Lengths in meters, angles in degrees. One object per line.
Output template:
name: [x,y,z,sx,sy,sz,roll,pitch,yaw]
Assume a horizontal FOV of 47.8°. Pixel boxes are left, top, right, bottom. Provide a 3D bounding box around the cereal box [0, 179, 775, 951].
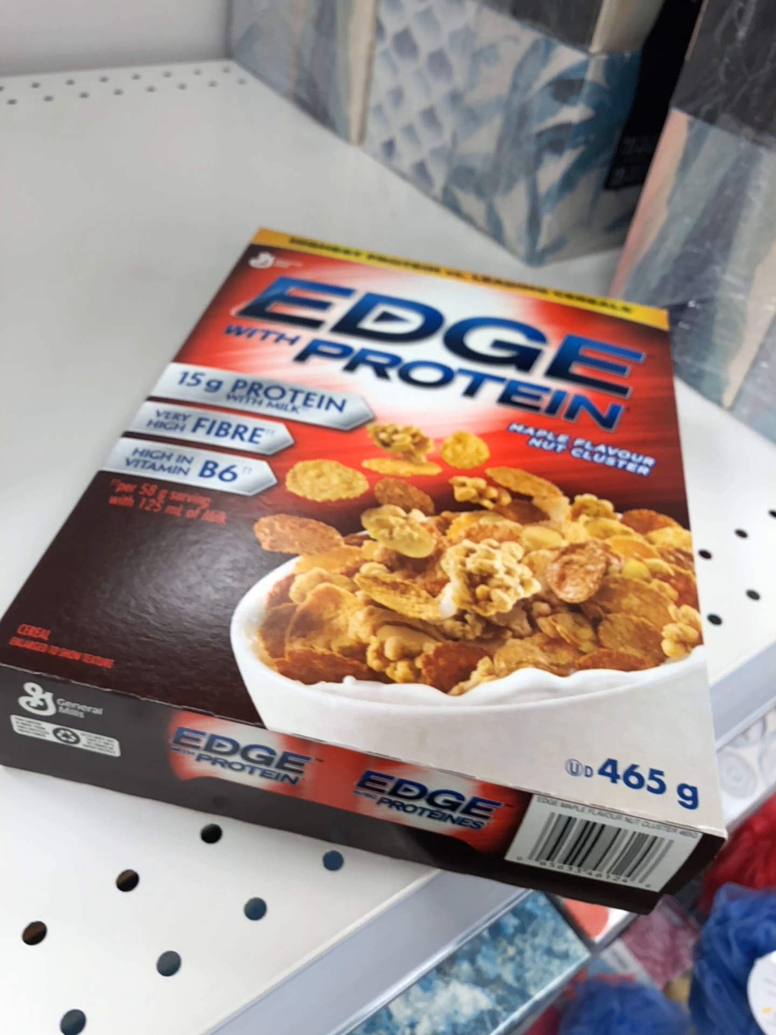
cereal box: [0.003,-0.021,0.309,0.220,0.050,0.271,12,43,2]
